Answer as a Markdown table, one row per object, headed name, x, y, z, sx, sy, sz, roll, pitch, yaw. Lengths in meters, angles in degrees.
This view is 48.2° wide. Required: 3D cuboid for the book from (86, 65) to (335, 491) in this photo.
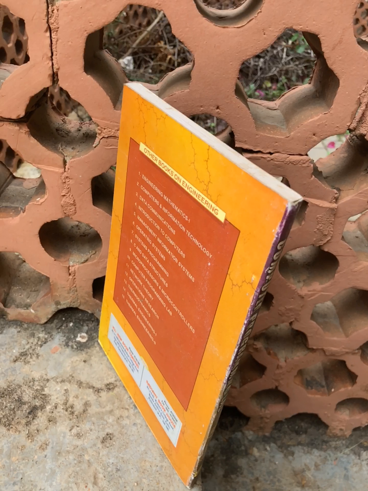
| name | x | y | z | sx | sy | sz | roll | pitch | yaw |
| --- | --- | --- | --- | --- | --- | --- | --- | --- | --- |
| book | -0.017 | 0.029 | 0.290 | 0.020 | 0.249 | 0.181 | -11 | 40 | -33 |
